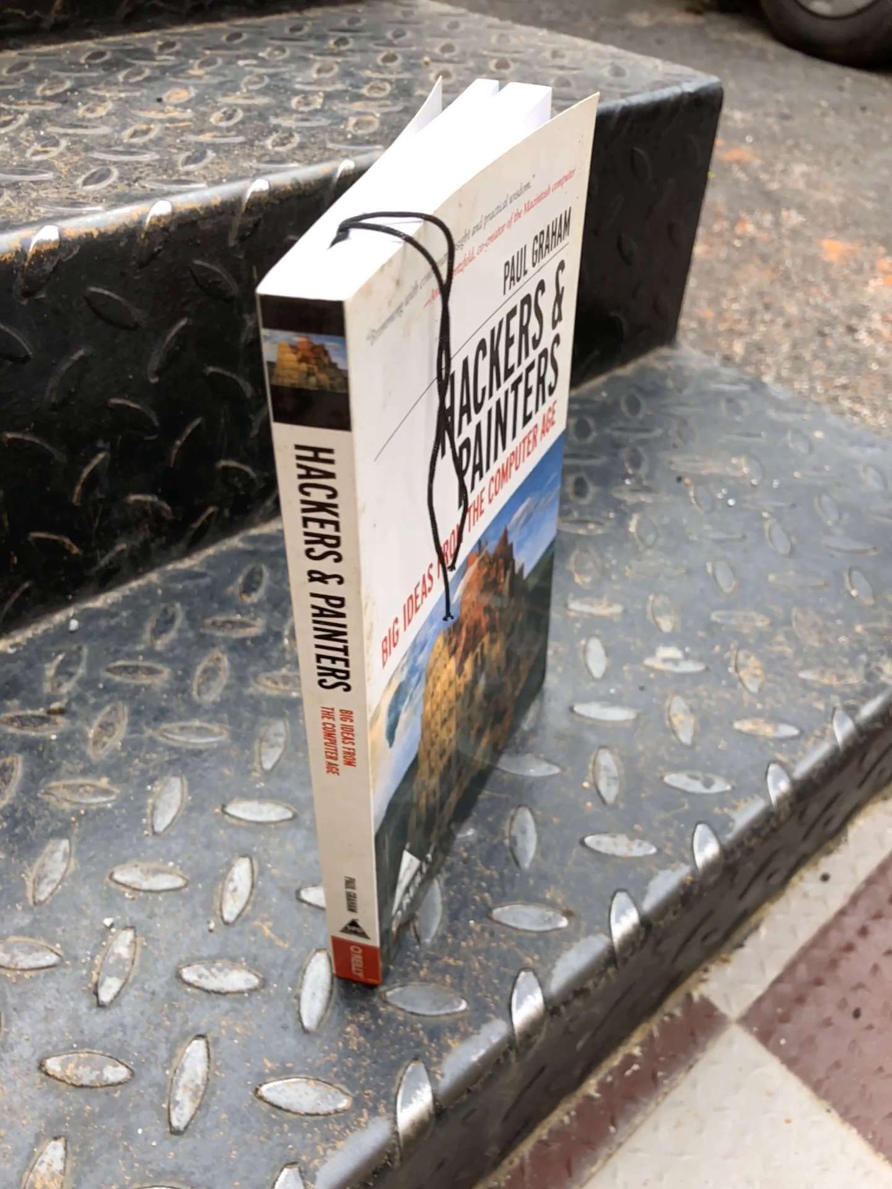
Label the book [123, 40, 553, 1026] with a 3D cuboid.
[{"bbox_3d":[-0.009,-0.013,0.283,0.030,0.219,0.171,11,43,13],"label":"book"}]
